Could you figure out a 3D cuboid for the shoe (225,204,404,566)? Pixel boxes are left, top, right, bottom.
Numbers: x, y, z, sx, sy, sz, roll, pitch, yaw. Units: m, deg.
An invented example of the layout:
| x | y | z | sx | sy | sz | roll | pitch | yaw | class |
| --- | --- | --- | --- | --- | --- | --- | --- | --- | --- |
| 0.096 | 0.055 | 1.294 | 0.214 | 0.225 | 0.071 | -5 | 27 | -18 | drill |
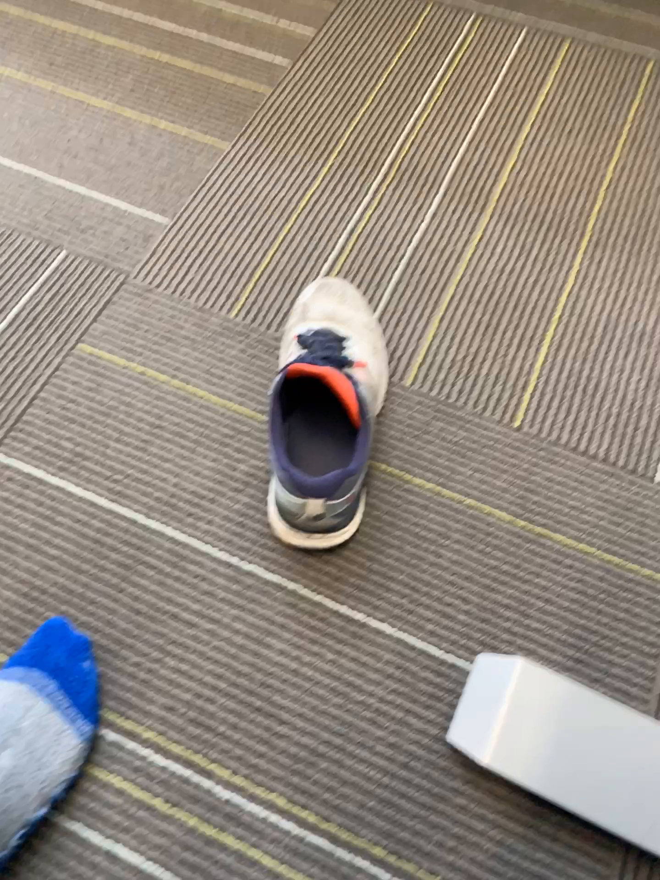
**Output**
| x | y | z | sx | sy | sz | roll | pitch | yaw | class |
| --- | --- | --- | --- | --- | --- | --- | --- | --- | --- |
| -0.005 | -0.055 | 0.602 | 0.110 | 0.110 | 0.301 | 6 | 63 | 3 | shoe |
